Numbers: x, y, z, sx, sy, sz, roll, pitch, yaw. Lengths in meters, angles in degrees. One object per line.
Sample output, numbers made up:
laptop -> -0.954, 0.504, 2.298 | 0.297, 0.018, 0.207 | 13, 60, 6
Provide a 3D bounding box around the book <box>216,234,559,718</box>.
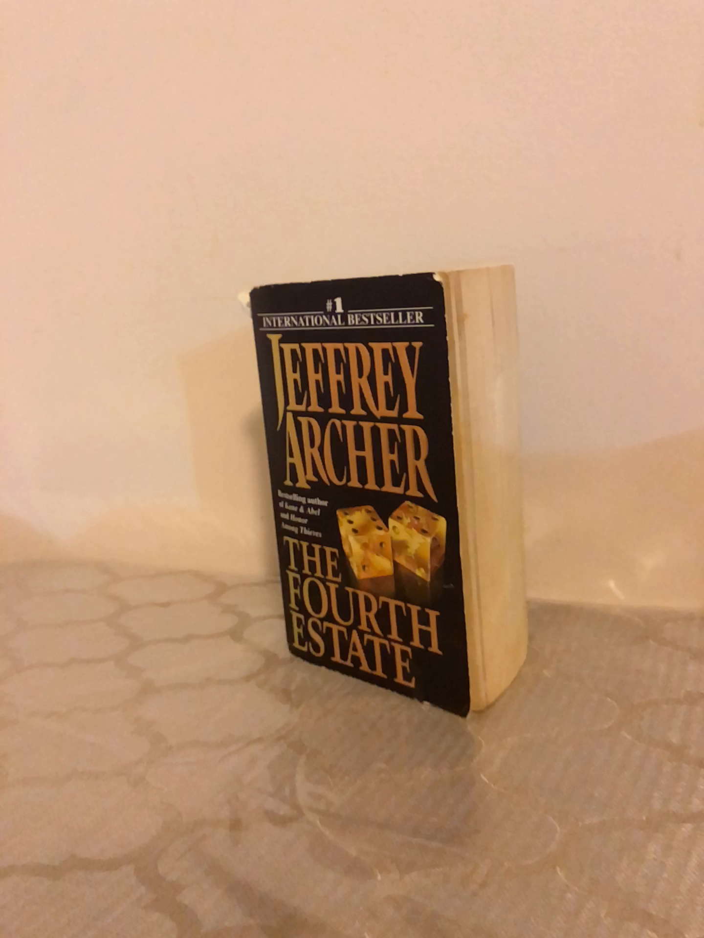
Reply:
book -> 0.015, -0.004, 0.329 | 0.120, 0.170, 0.060 | 6, 16, 42
